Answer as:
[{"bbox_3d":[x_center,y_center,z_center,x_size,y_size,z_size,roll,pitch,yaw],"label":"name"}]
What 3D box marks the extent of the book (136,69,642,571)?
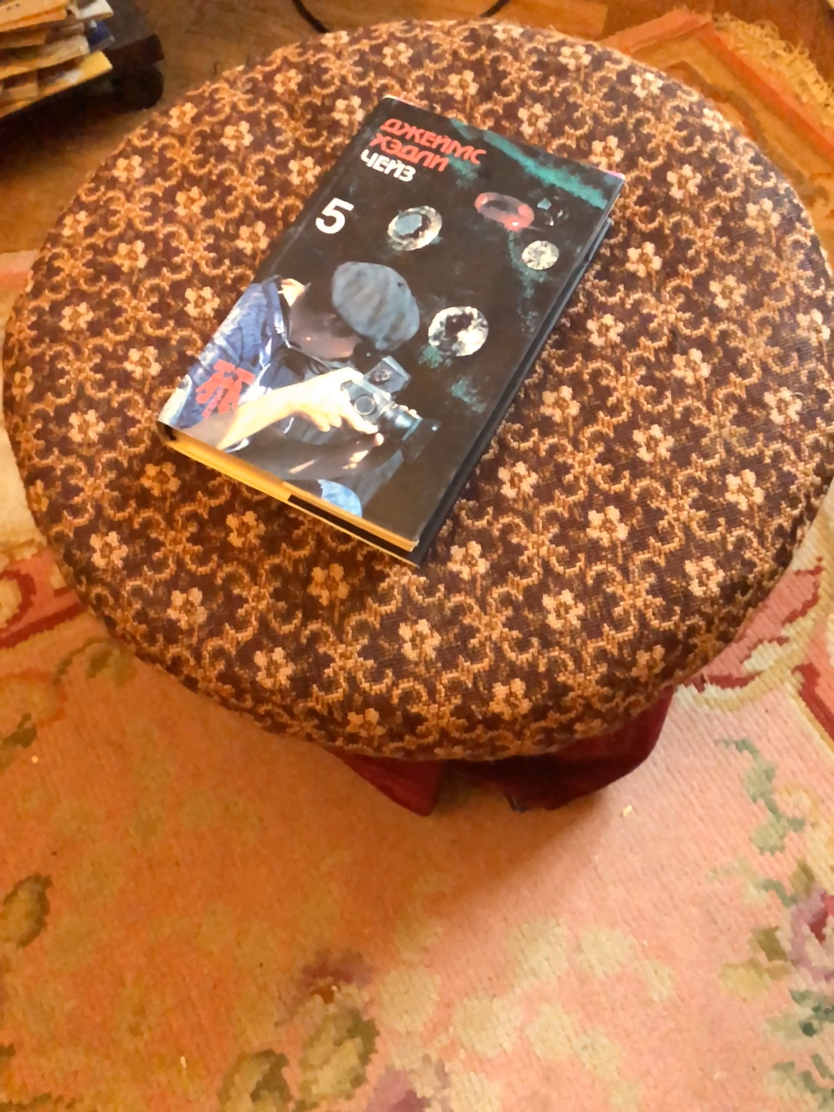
[{"bbox_3d":[-0.009,-0.114,0.413,0.140,0.020,0.205,27,76,13],"label":"book"}]
